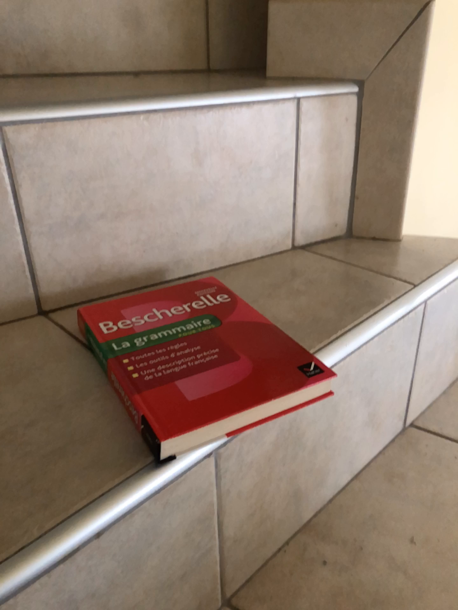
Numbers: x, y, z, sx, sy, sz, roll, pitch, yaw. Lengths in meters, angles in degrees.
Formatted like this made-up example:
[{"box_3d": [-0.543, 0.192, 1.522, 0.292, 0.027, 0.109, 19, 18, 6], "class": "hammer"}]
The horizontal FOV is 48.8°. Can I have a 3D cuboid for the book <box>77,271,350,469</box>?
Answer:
[{"box_3d": [-0.025, 0.032, 0.410, 0.143, 0.020, 0.201, -16, 32, -25], "class": "book"}]
